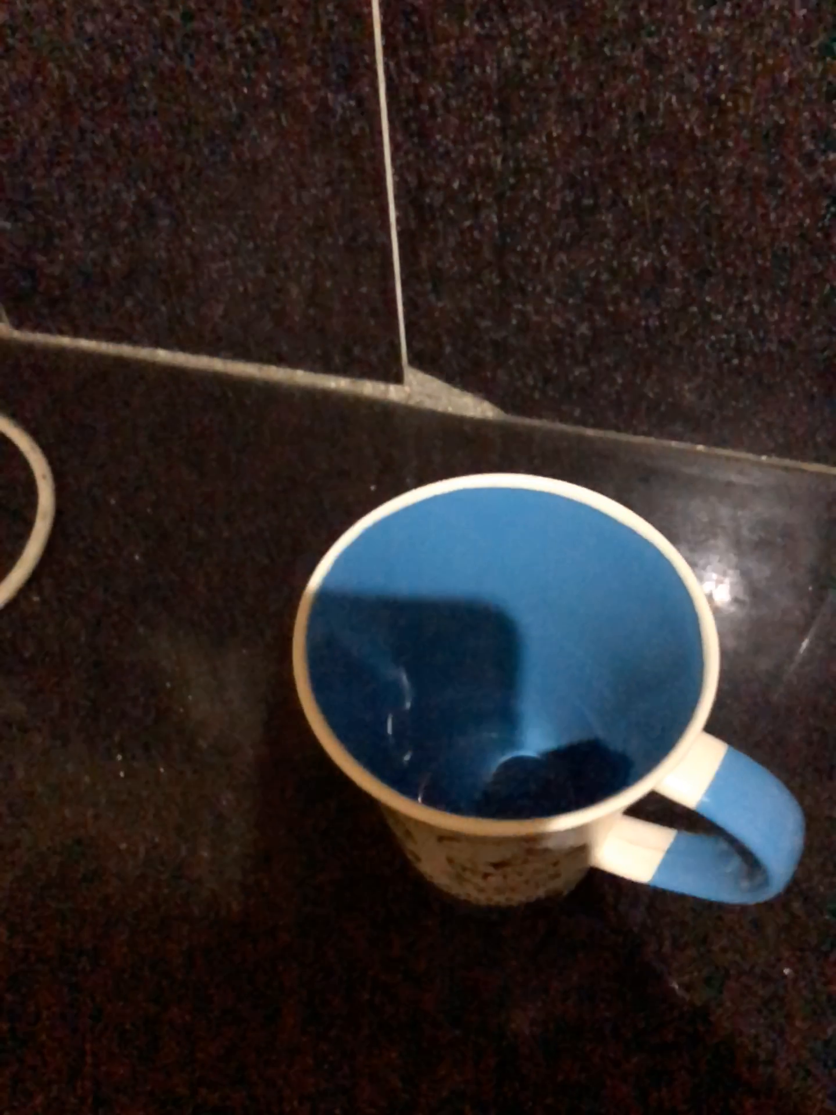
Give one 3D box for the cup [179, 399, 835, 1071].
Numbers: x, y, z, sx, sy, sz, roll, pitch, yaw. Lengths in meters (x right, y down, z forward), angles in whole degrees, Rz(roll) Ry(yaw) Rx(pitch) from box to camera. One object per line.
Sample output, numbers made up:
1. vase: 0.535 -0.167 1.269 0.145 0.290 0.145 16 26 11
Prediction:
1. cup: 0.031 0.046 0.243 0.130 0.110 0.090 21 57 18
